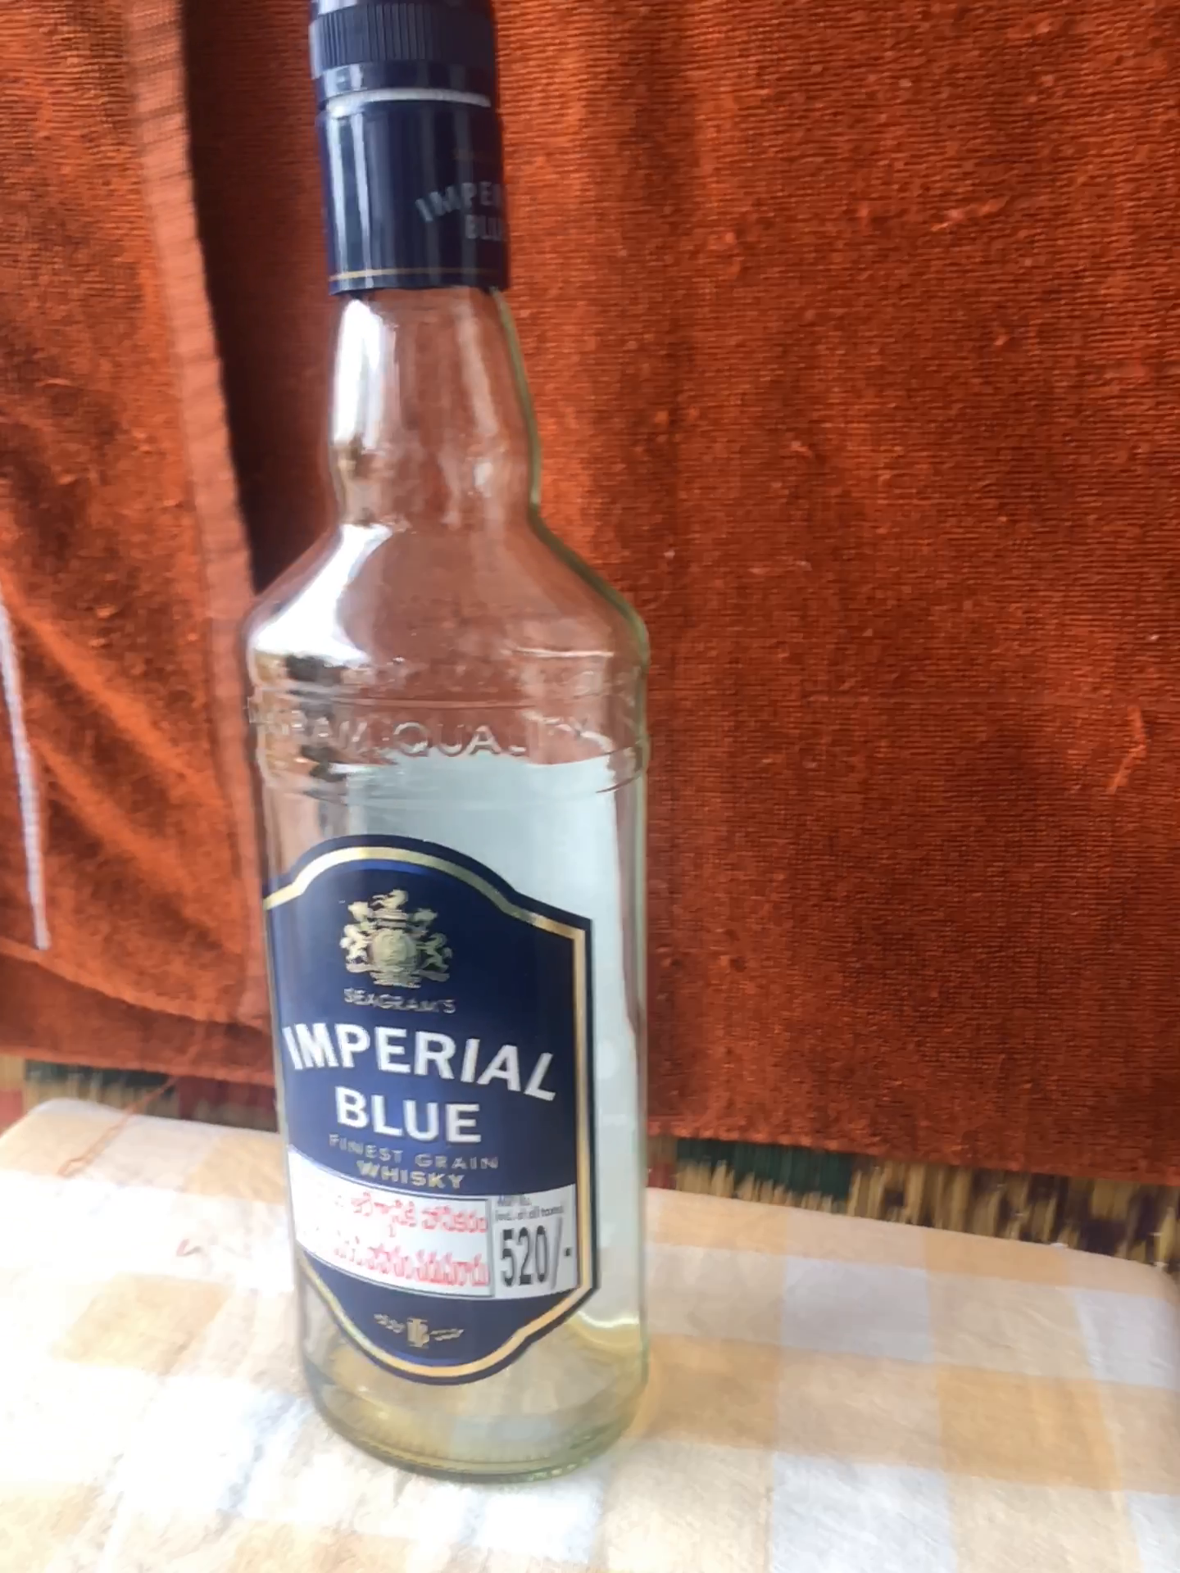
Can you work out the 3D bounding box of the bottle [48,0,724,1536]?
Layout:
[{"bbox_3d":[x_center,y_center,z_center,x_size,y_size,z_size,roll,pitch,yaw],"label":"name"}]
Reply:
[{"bbox_3d":[-0.030,-0.010,0.267,0.090,0.309,0.070,6,18,17],"label":"bottle"}]
